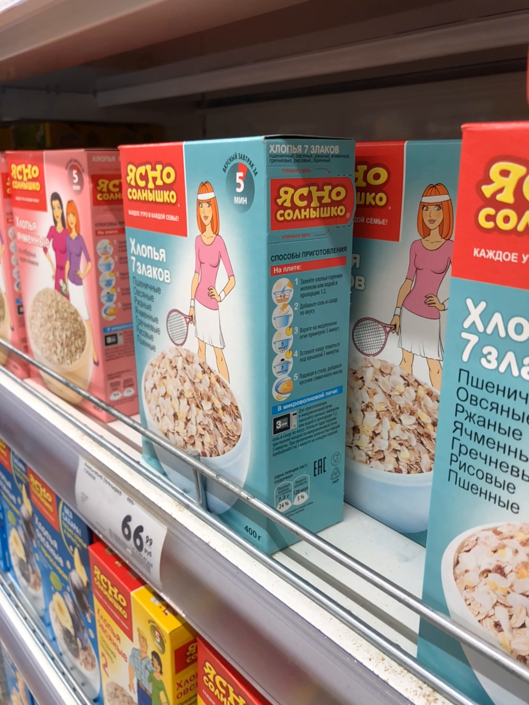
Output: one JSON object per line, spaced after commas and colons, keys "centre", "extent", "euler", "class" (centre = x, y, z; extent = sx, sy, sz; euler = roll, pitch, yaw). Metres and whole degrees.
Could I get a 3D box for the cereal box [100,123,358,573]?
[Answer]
{"centre": [-0.025, -0.012, 0.306], "extent": [0.050, 0.189, 0.140], "euler": [-13, 21, -37], "class": "cereal box"}
